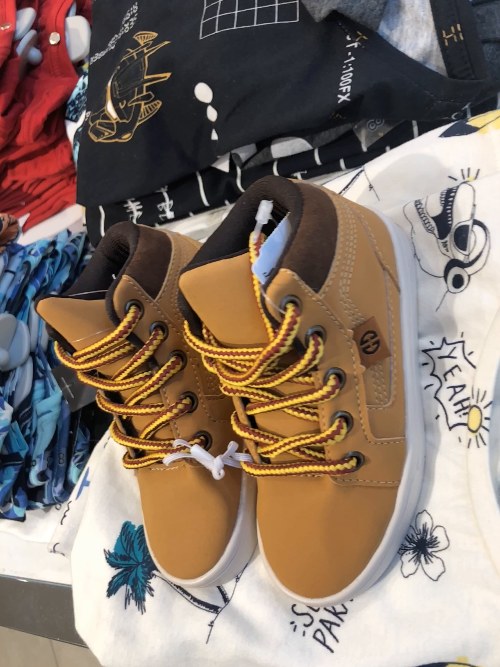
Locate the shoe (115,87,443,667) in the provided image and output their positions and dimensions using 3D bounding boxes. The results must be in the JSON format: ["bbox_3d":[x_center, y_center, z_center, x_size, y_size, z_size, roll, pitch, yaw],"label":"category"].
[{"bbox_3d":[0.021,0.015,0.216,0.070,0.090,0.170,-2,74,37],"label":"shoe"}]

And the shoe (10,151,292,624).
[{"bbox_3d":[-0.038,0.025,0.252,0.070,0.090,0.170,-13,70,33],"label":"shoe"}]
